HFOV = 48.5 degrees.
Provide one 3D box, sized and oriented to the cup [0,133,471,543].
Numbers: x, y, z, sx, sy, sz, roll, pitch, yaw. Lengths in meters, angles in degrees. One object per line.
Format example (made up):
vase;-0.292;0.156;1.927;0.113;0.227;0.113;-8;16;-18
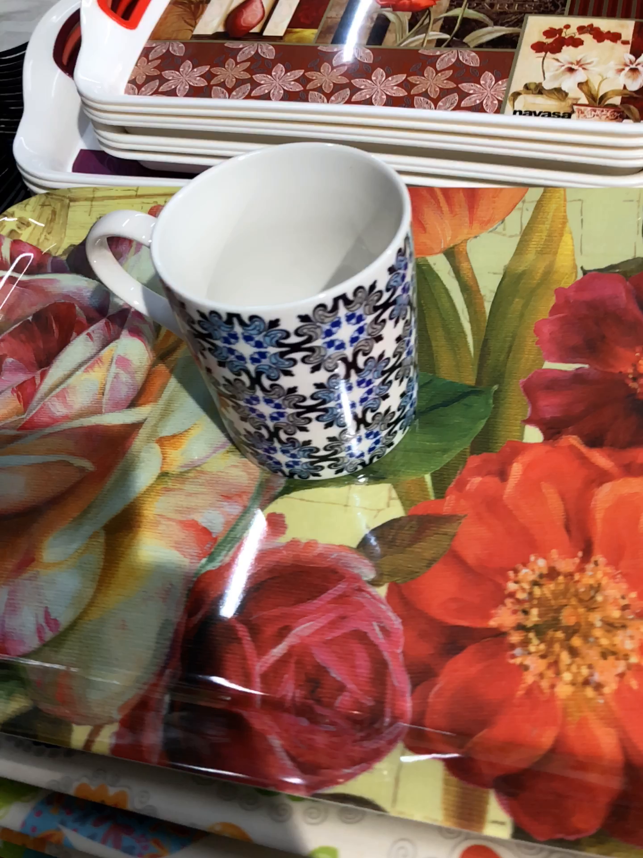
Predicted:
cup;-0.020;-0.034;0.259;0.130;0.099;0.091;8;53;14
